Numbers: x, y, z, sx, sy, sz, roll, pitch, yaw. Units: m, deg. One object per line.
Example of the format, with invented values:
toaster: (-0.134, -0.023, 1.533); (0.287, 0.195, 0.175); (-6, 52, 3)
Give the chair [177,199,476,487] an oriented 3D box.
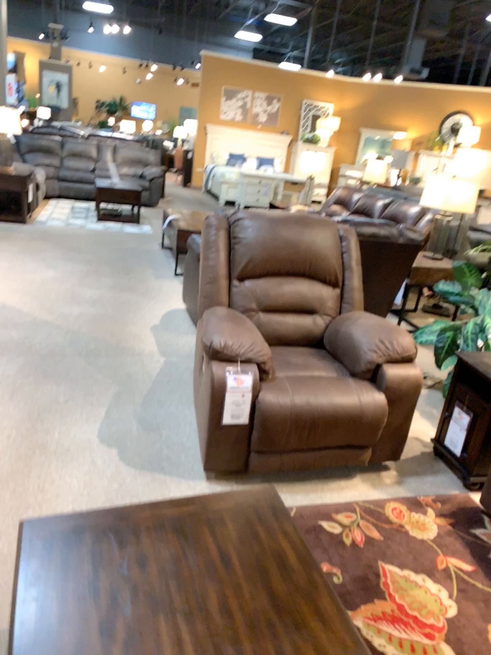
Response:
chair: (0.249, 0.006, 2.503); (1.001, 1.028, 1.069); (2, 22, -15)
